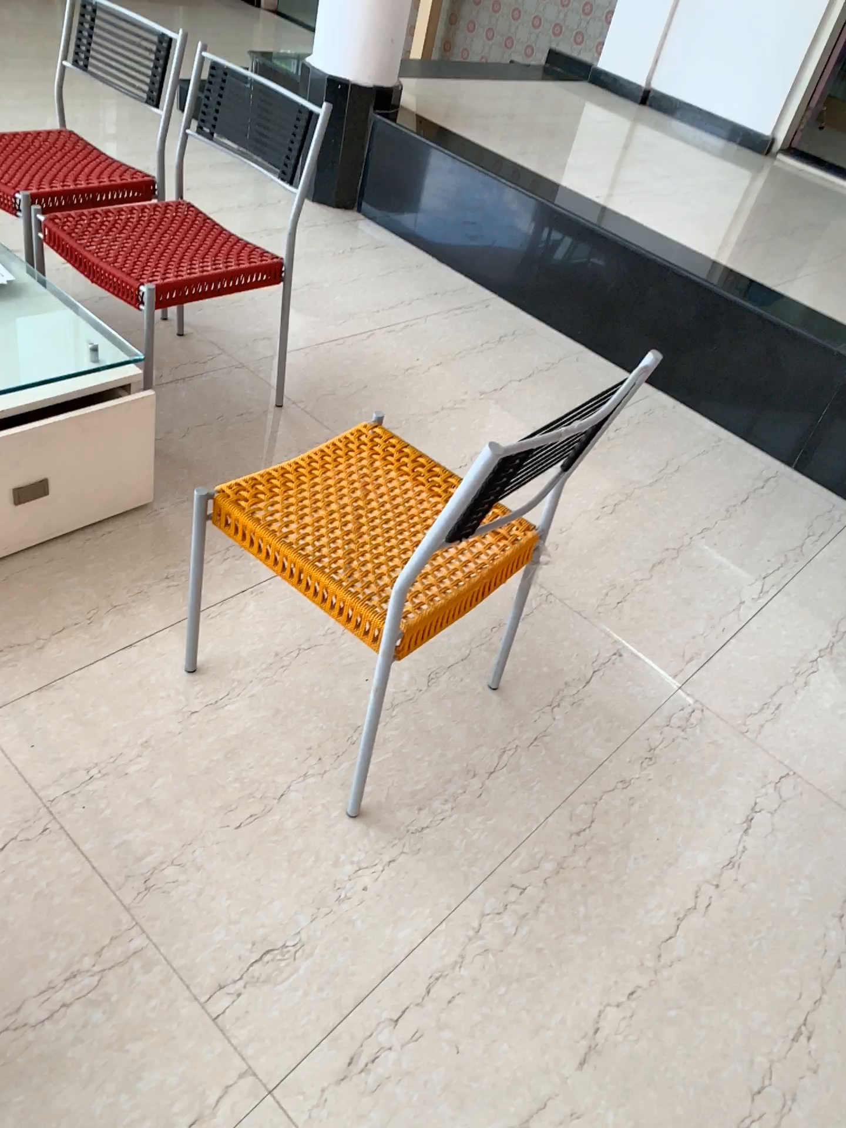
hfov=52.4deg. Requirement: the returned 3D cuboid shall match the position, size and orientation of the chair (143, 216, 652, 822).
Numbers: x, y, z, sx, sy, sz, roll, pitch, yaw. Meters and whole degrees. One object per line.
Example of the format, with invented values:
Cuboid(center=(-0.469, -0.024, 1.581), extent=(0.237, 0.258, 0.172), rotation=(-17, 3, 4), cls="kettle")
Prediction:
Cuboid(center=(-0.089, -0.096, 1.475), extent=(0.521, 0.744, 0.533), rotation=(36, 42, 23), cls="chair")
